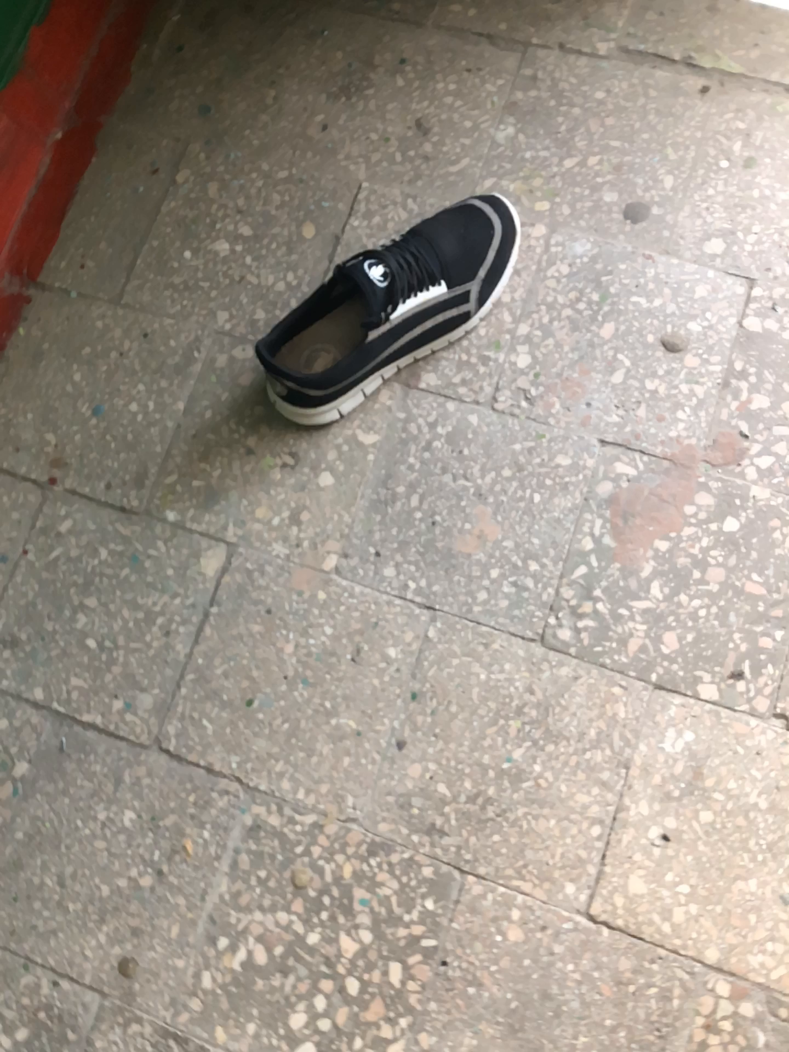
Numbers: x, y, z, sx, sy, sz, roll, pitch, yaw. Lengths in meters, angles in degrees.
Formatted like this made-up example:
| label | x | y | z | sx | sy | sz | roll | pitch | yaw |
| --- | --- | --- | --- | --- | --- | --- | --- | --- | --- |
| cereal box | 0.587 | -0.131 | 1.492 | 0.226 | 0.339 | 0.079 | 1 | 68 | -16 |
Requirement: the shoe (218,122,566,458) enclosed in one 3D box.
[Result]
| label | x | y | z | sx | sy | sz | roll | pitch | yaw |
| --- | --- | --- | --- | --- | --- | --- | --- | --- | --- |
| shoe | 0.004 | -0.199 | 0.765 | 0.280 | 0.120 | 0.100 | -37 | 75 | -3 |
